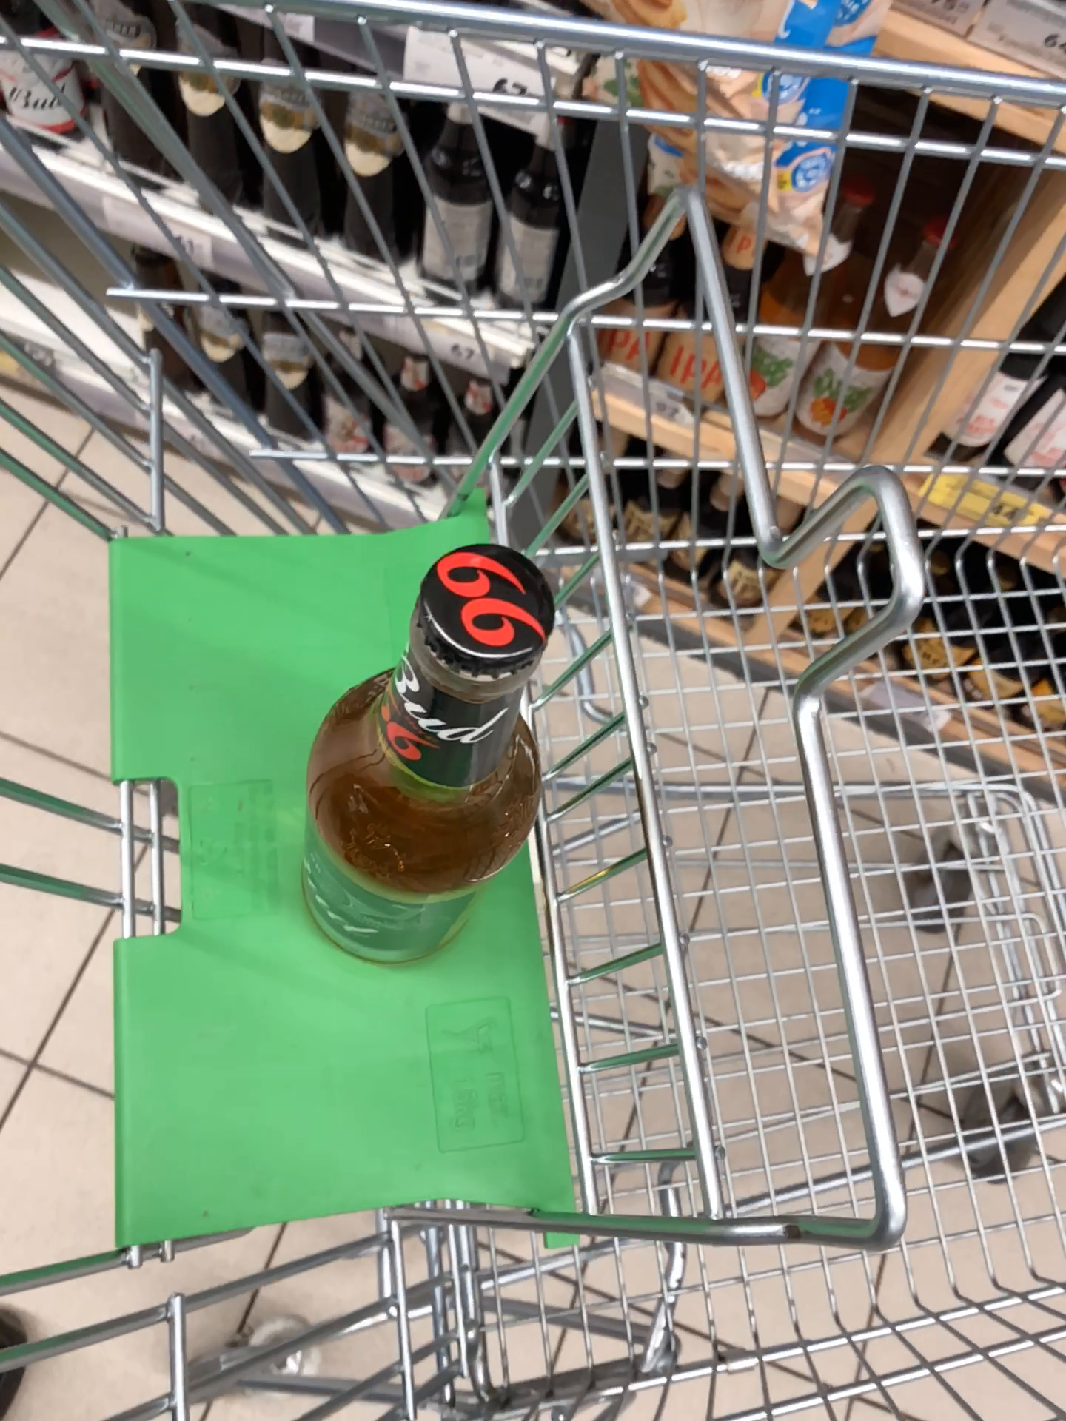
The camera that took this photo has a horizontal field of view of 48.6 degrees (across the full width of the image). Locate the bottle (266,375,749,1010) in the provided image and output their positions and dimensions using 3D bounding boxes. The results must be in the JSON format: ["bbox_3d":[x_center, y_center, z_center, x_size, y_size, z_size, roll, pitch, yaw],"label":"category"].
[{"bbox_3d":[-0.027,0.018,0.345,0.070,0.239,0.080,-22,74,-19],"label":"bottle"}]
